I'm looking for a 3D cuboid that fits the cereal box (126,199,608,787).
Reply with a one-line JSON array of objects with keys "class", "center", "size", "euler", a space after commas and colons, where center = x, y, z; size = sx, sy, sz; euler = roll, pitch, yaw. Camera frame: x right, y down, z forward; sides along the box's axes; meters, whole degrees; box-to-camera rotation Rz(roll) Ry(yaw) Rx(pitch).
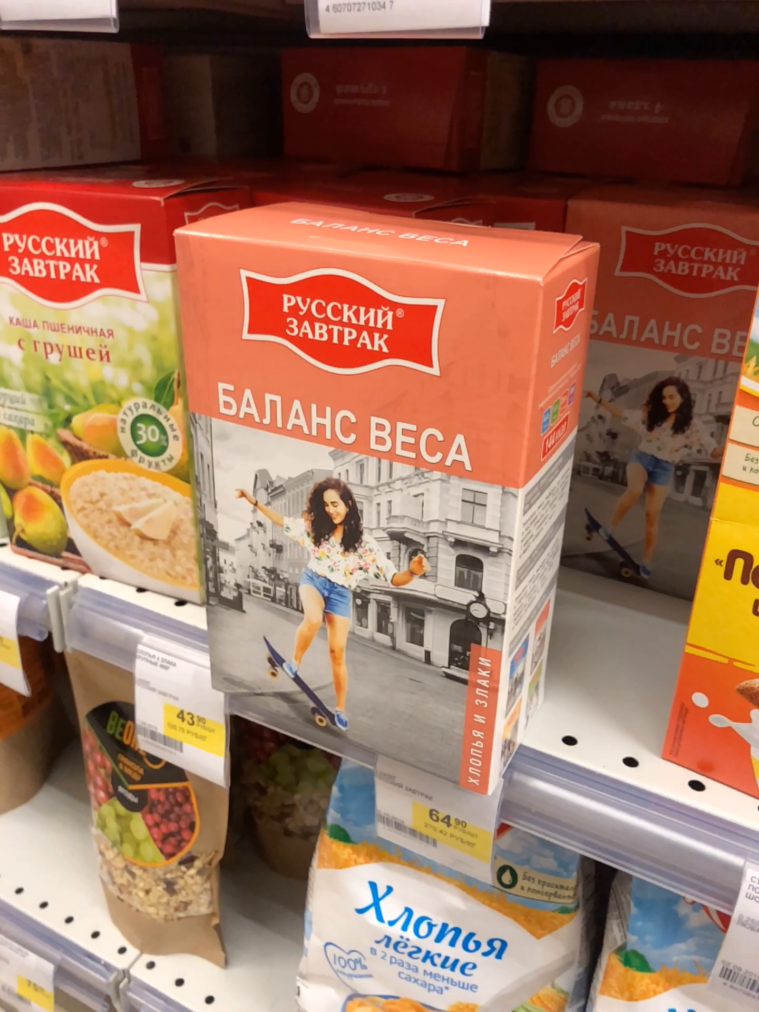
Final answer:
[{"class": "cereal box", "center": [-0.006, -0.011, 0.313], "size": [0.140, 0.179, 0.070], "euler": [14, 29, 24]}]
